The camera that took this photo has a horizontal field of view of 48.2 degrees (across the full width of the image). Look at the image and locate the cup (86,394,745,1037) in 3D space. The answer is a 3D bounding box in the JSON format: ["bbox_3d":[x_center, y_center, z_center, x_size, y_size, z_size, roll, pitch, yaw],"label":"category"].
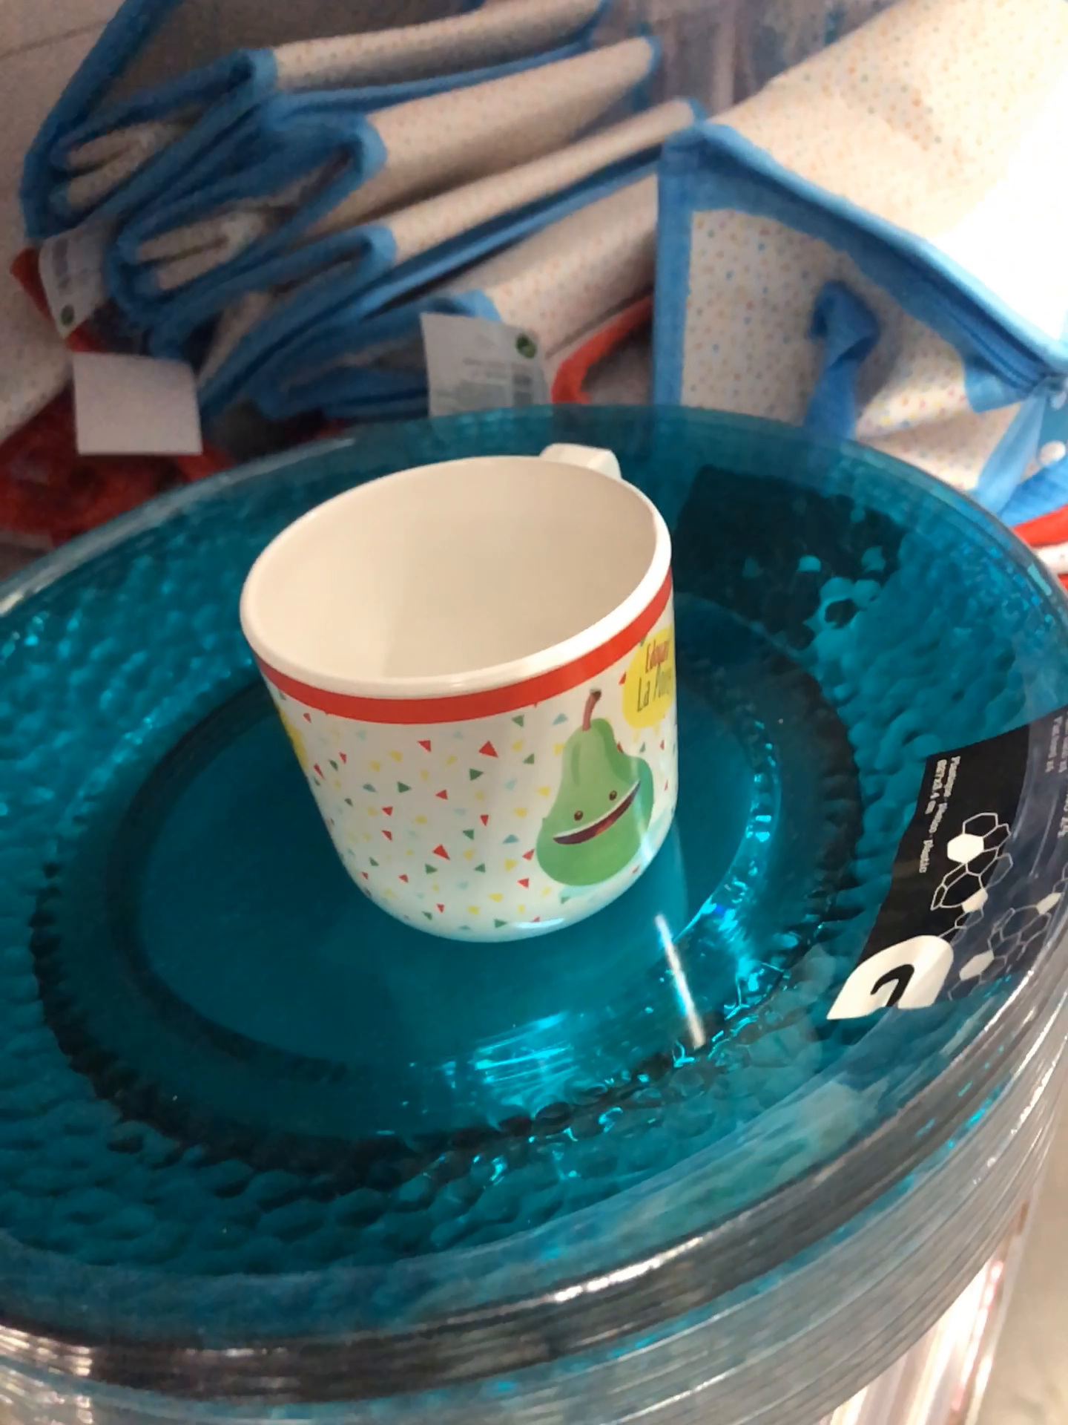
[{"bbox_3d":[-0.011,-0.008,0.225,0.076,0.059,0.103,10,42,22],"label":"cup"}]
